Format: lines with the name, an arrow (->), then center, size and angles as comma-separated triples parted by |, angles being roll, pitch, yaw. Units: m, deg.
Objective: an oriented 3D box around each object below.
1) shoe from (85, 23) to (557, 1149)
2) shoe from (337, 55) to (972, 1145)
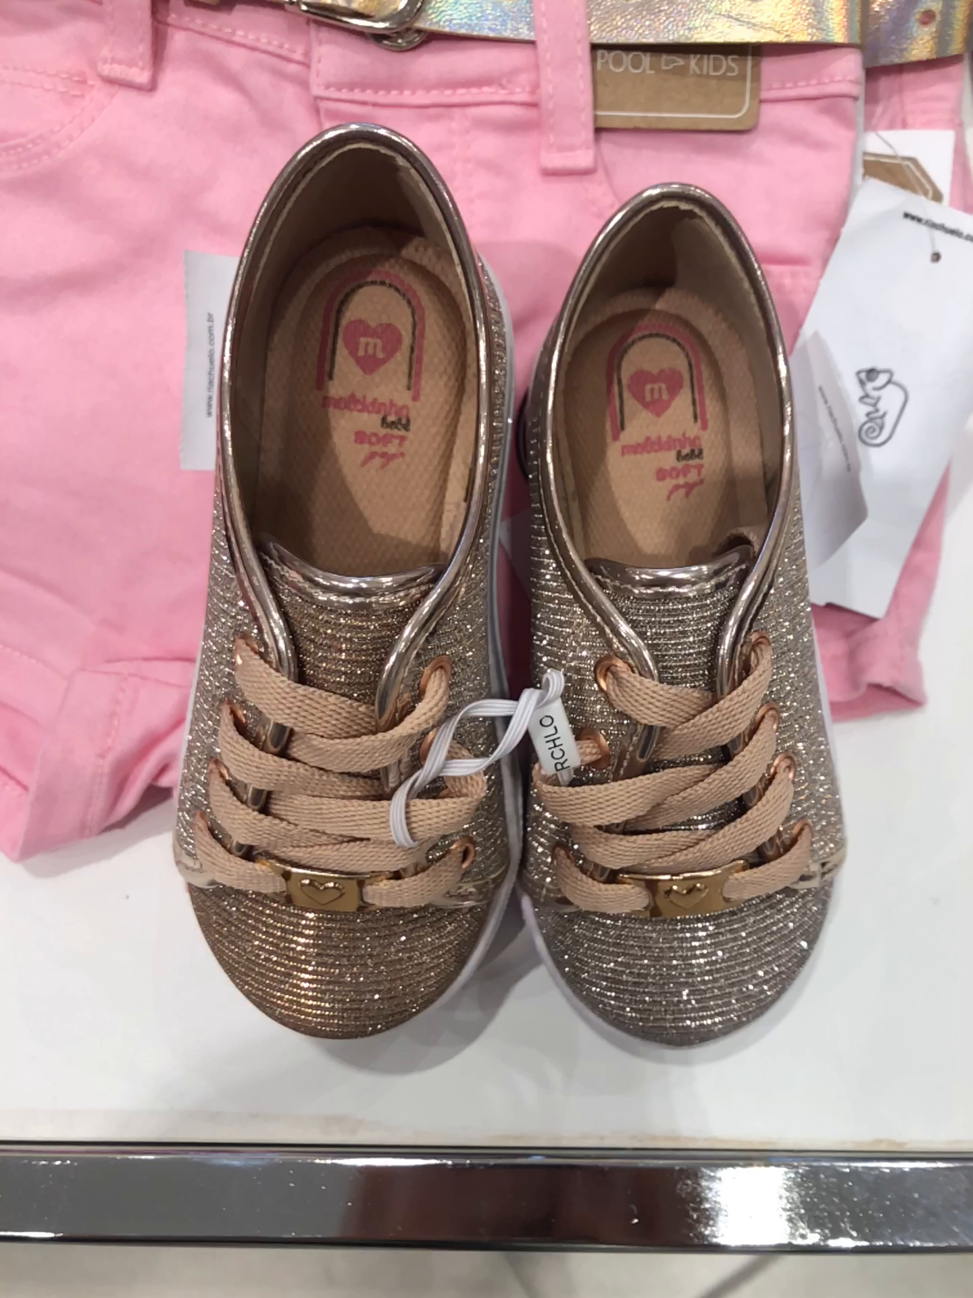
shoe -> -0.025, -0.010, 0.208 | 0.070, 0.080, 0.170 | 2, 94, 4
shoe -> 0.027, -0.008, 0.218 | 0.080, 0.080, 0.170 | -8, 82, 1
